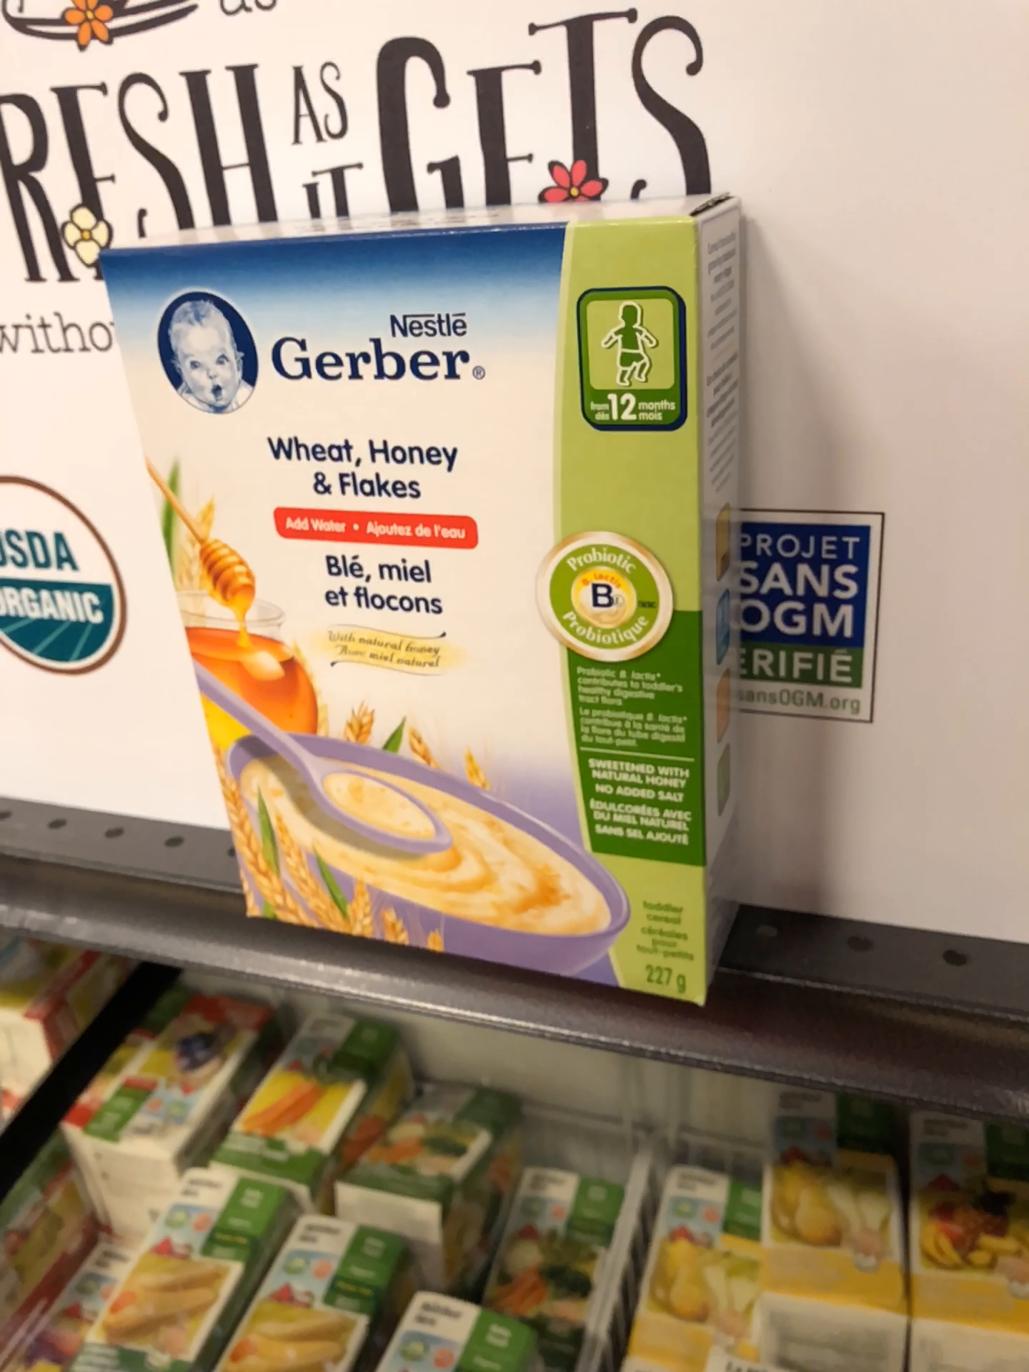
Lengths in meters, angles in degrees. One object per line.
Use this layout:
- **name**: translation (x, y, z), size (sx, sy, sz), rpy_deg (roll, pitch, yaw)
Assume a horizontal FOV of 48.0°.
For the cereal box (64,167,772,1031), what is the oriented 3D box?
- **cereal box**: translation (-0.014, -0.018, 0.299), size (0.150, 0.199, 0.050), rpy_deg (6, 29, 22)
